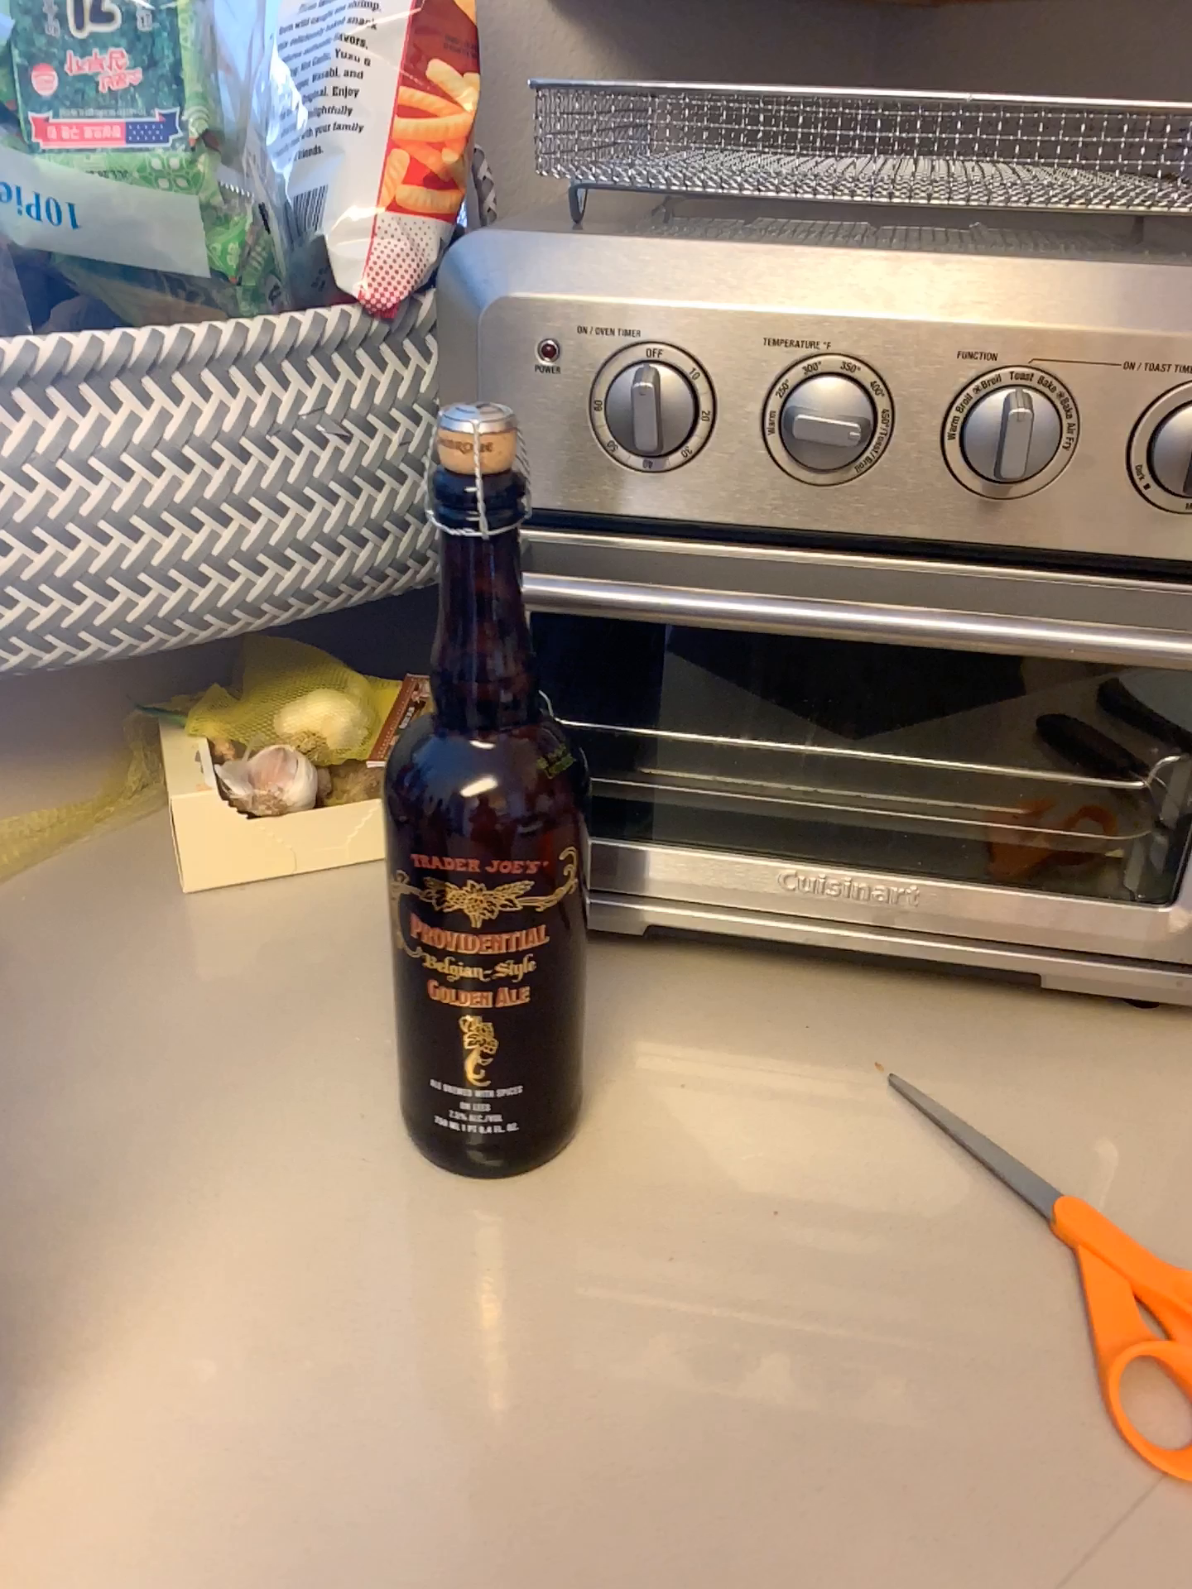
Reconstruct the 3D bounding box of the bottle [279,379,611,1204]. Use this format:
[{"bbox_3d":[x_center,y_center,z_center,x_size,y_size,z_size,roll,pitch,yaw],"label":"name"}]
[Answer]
[{"bbox_3d":[-0.046,0.010,0.453,0.090,0.298,0.080,3,29,3],"label":"bottle"}]
